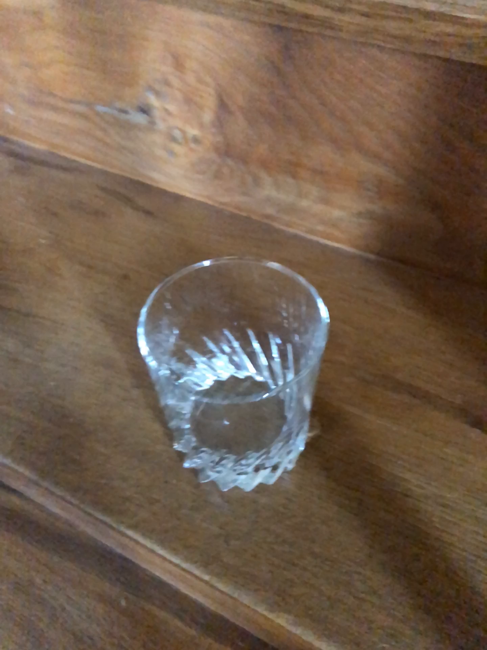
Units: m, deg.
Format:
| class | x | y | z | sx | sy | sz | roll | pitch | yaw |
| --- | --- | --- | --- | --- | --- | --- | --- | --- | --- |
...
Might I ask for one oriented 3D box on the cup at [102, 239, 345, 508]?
| class | x | y | z | sx | sy | sz | roll | pitch | yaw |
| --- | --- | --- | --- | --- | --- | --- | --- | --- | --- |
| cup | -0.009 | 0.024 | 0.264 | 0.090 | 0.089 | 0.091 | 0 | 48 | 0 |
